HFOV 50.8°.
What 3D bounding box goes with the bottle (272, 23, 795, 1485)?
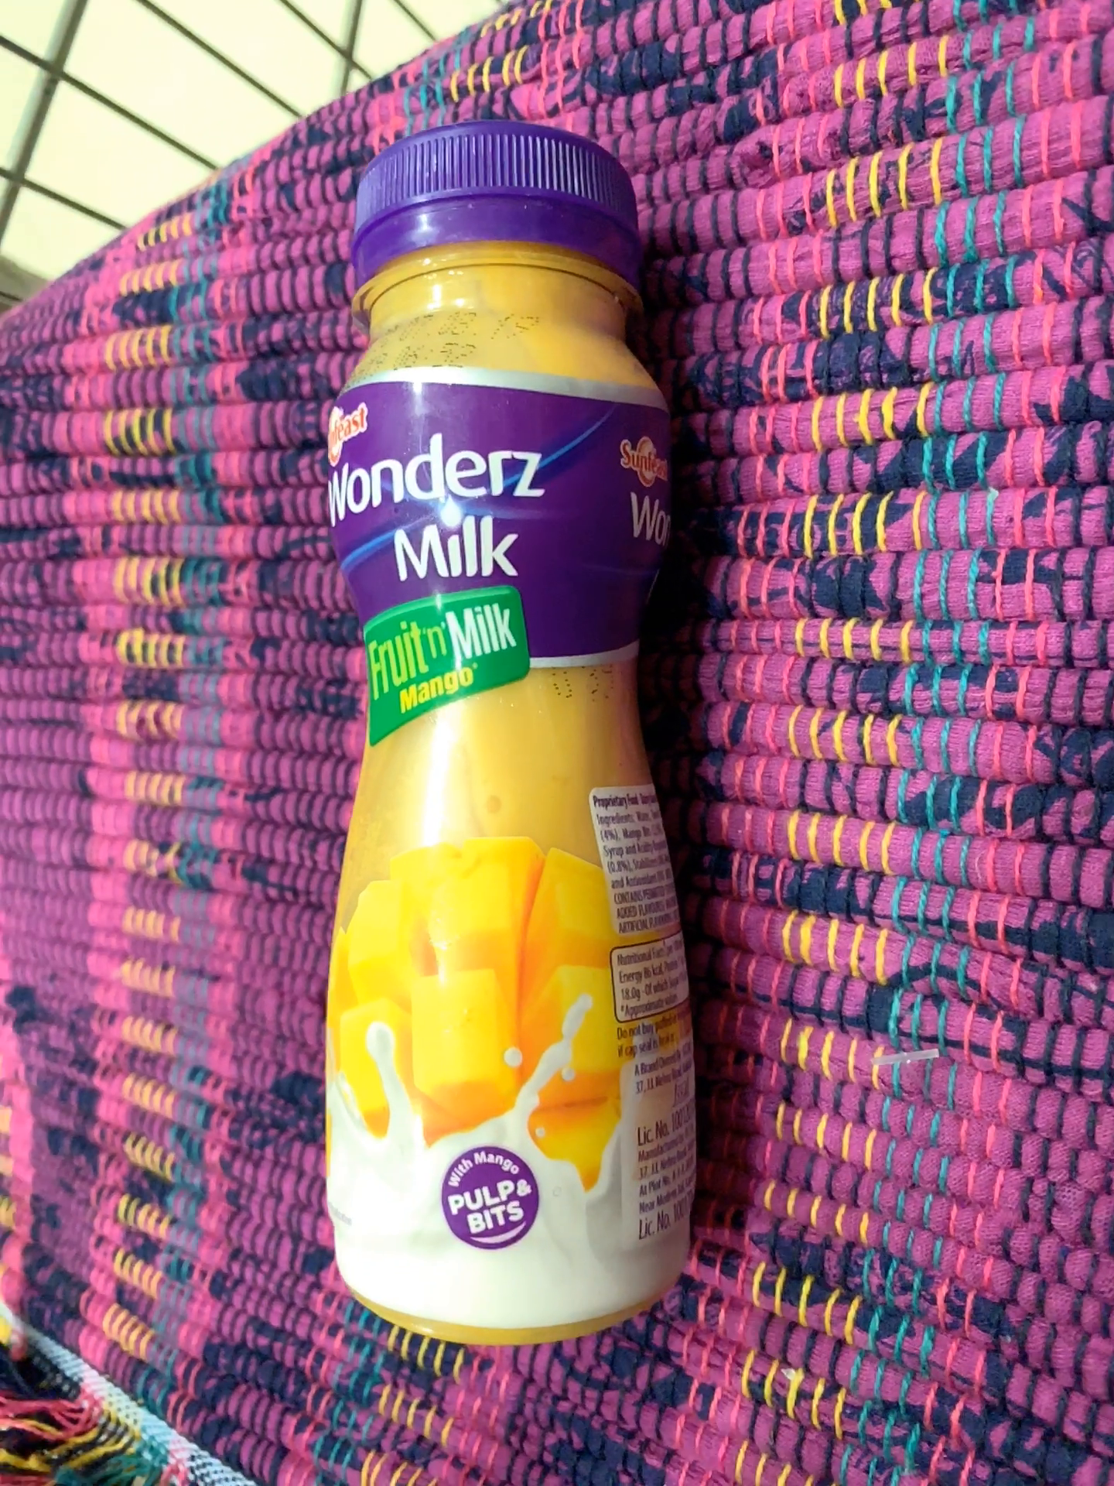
[{"bbox_3d":[-0.002,0.002,0.148,0.050,0.040,0.150,-2,85,35],"label":"bottle"}]
